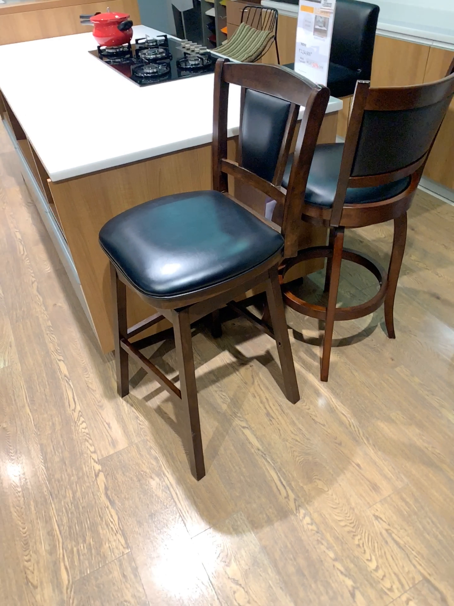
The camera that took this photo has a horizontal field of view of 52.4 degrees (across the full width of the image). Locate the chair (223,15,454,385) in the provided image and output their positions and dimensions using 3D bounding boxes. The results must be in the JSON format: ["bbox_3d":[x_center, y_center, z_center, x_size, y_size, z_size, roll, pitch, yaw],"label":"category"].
[{"bbox_3d":[0.399,-0.352,1.629,0.550,1.026,0.572,-23,43,-22],"label":"chair"}]

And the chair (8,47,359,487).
[{"bbox_3d":[-0.087,-0.104,1.376,0.571,1.026,0.582,-30,46,-29],"label":"chair"}]
